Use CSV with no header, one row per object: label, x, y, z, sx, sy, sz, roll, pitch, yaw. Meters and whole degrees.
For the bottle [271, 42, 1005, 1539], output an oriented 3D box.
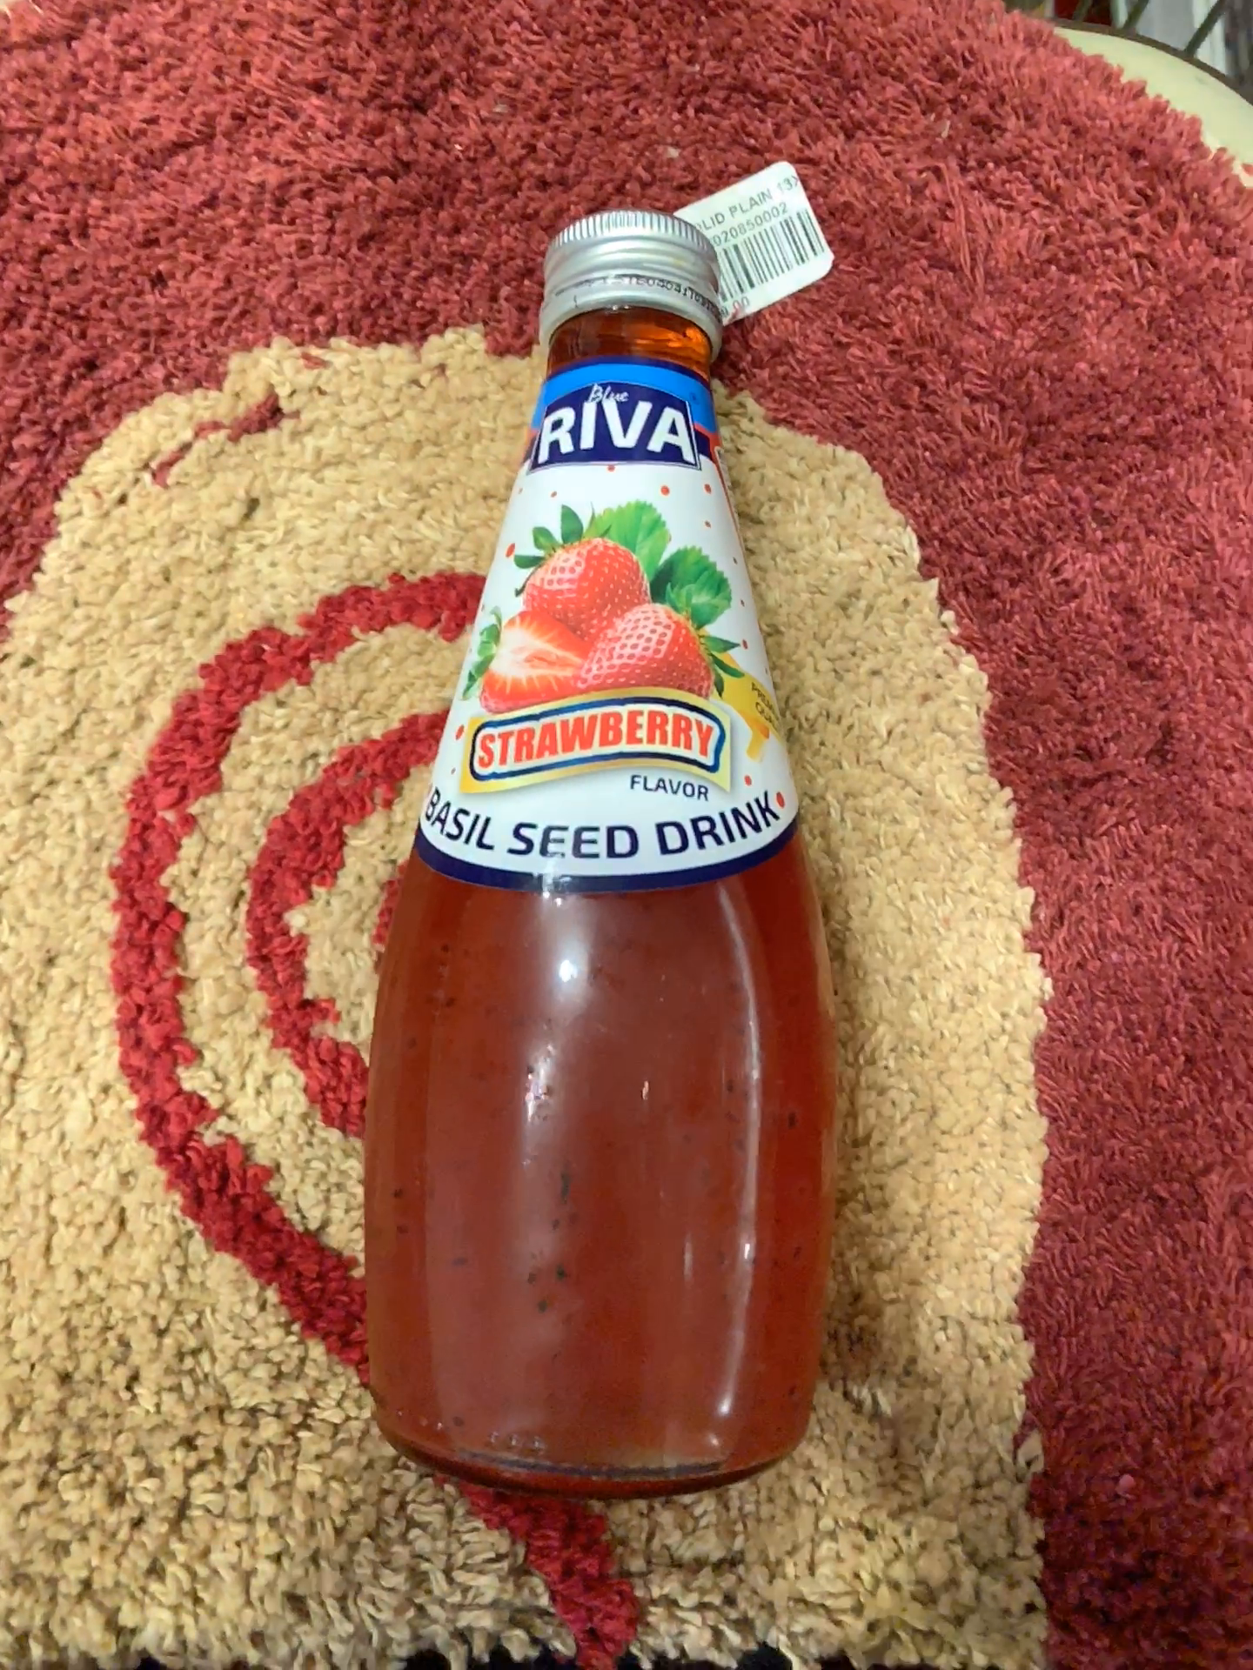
bottle,0.005,-0.009,0.164,0.070,0.050,0.160,3,80,1
